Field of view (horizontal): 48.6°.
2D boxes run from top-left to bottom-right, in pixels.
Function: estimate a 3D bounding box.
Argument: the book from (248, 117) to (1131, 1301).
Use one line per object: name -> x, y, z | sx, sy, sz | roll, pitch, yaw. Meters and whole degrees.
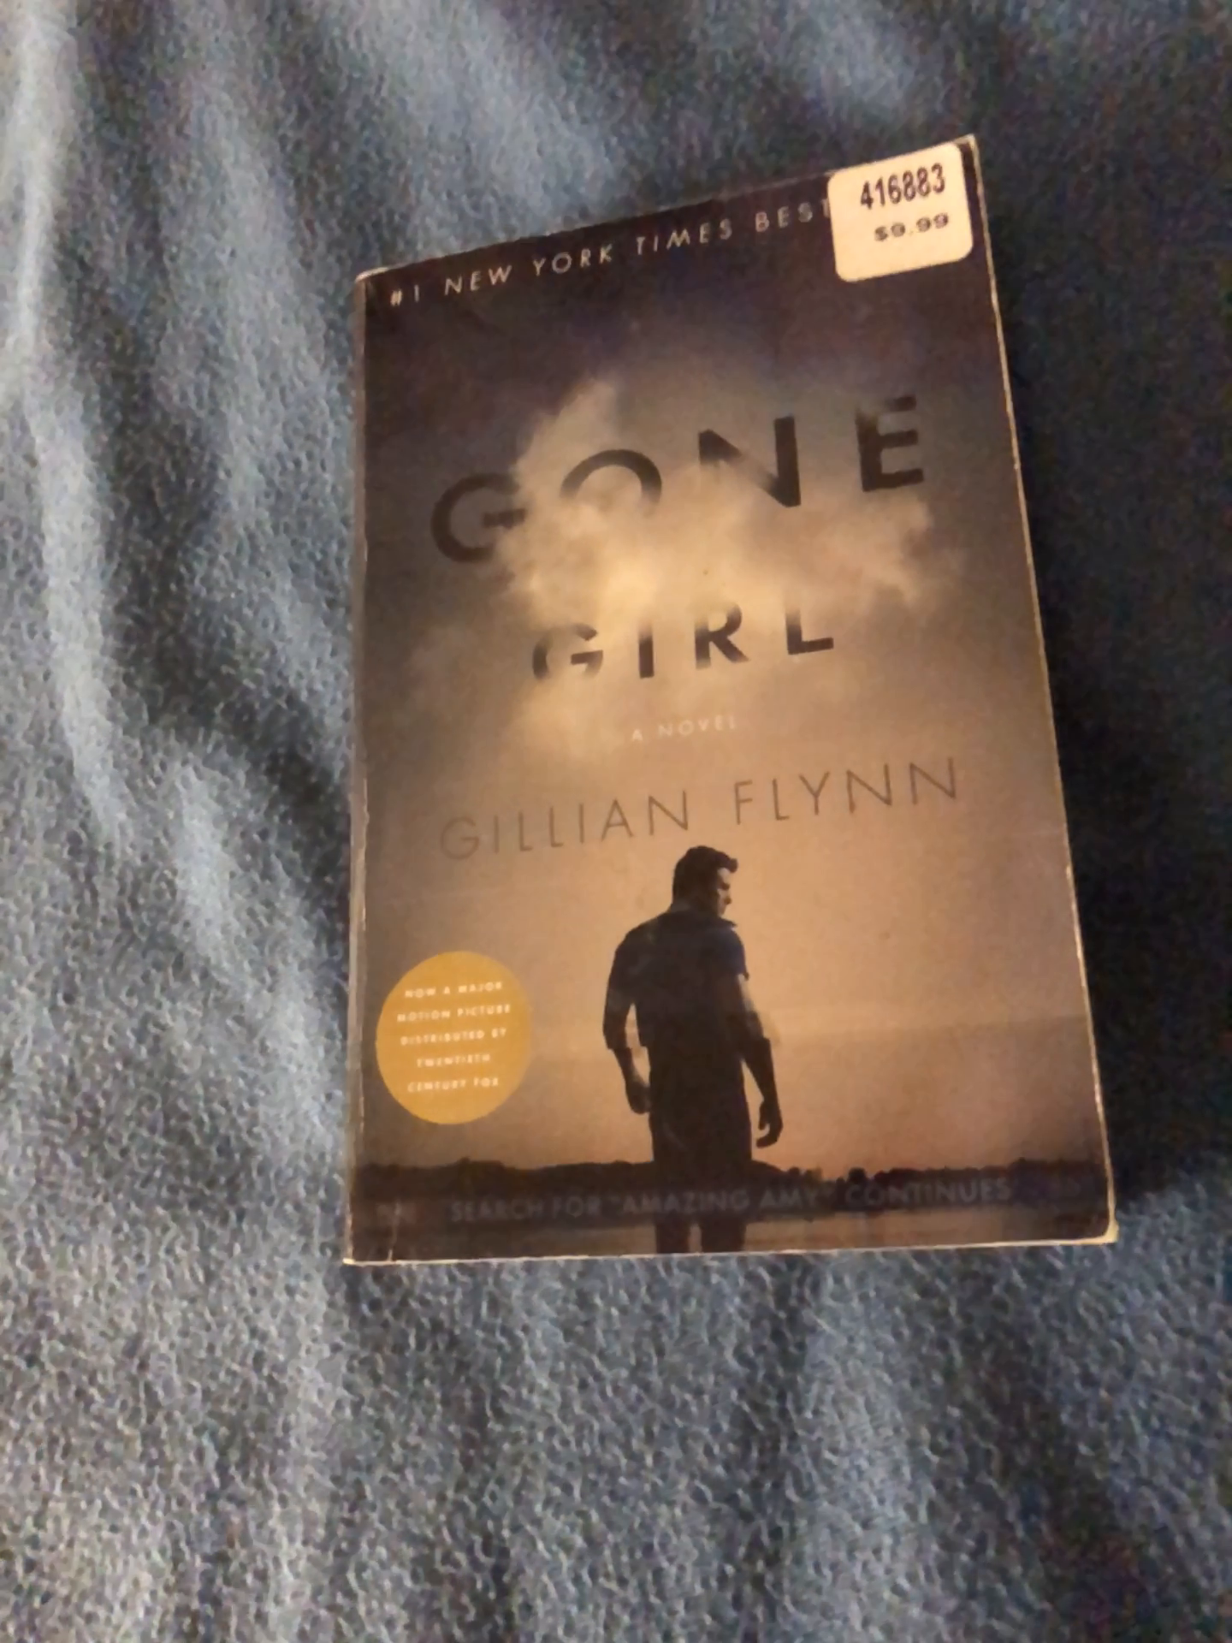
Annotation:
book -> 0.005, -0.020, 0.258 | 0.140, 0.040, 0.200 | -7, 74, 13
